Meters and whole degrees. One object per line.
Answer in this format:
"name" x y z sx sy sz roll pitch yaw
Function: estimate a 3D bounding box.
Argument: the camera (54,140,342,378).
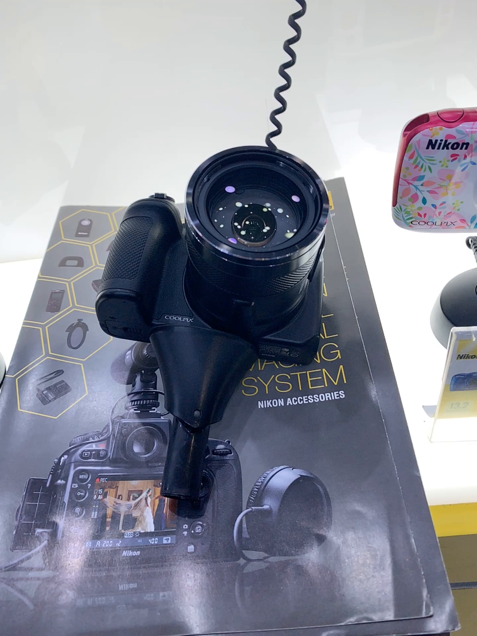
"camera" -0.010 -0.030 0.260 0.120 0.080 0.090 4 63 12
